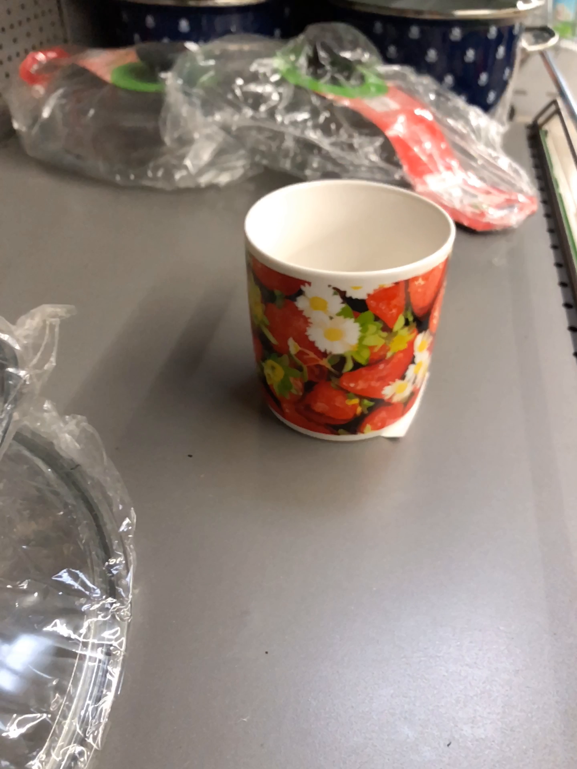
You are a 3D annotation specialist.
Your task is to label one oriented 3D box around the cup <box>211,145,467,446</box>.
[{"bbox_3d":[0.023,-0.048,0.301,0.090,0.078,0.129,5,39,4],"label":"cup"}]
